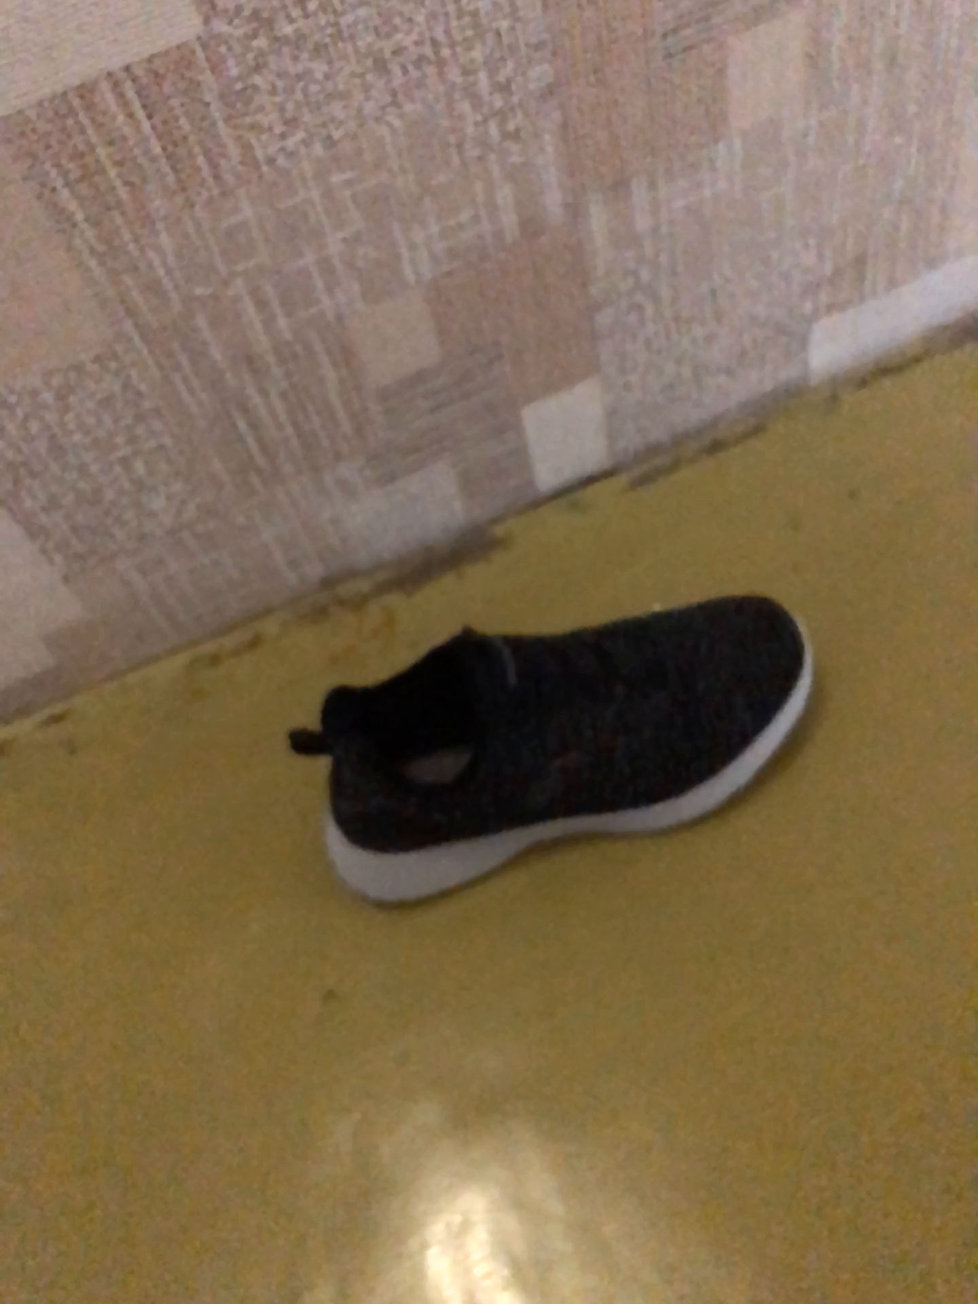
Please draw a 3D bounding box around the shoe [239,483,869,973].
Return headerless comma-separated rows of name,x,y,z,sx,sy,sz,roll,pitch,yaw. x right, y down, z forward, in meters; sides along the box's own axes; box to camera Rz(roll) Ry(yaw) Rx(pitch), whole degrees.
shoe,0.040,0.045,0.640,0.320,0.130,0.120,-23,52,-4
